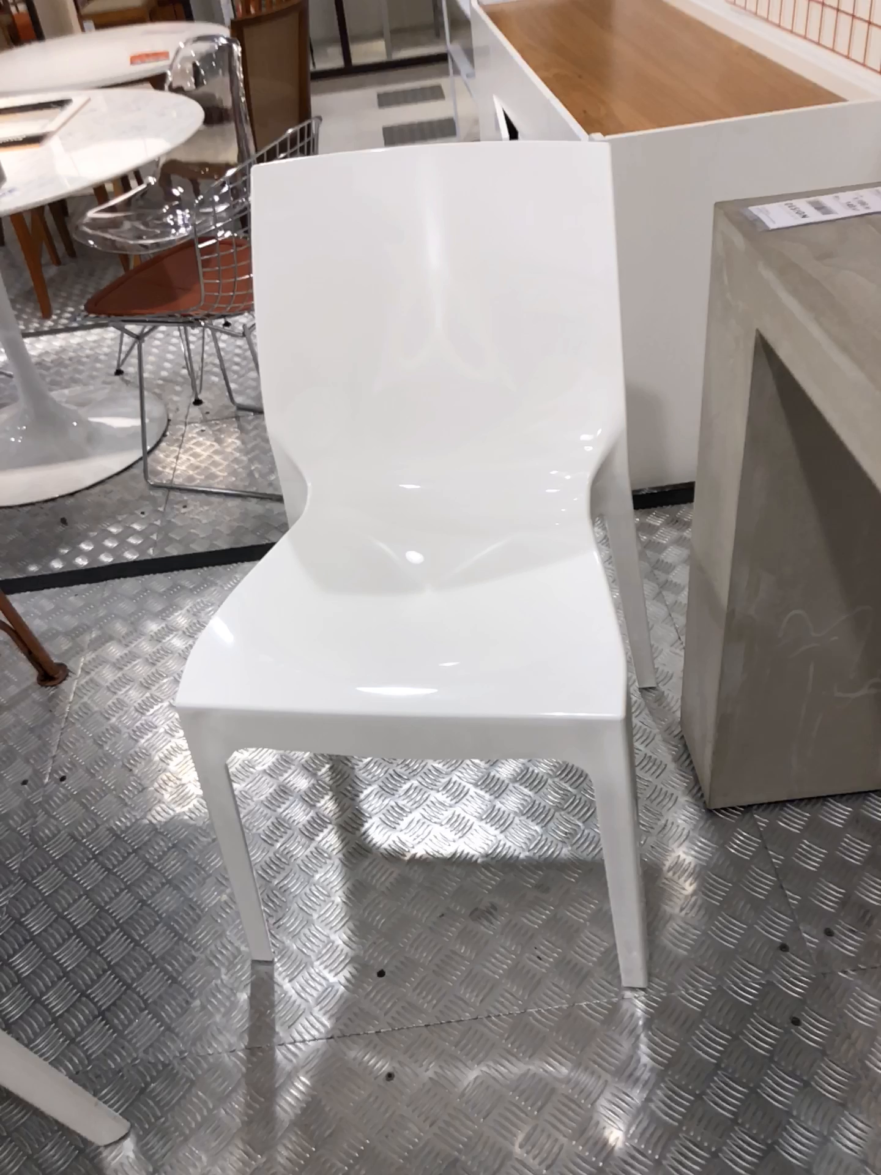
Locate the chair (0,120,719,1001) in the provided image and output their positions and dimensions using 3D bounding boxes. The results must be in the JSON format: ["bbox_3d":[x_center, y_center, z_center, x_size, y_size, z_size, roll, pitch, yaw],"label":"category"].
[{"bbox_3d":[-0.006,-0.017,1.079,0.520,0.765,0.544,0,39,10],"label":"chair"}]
